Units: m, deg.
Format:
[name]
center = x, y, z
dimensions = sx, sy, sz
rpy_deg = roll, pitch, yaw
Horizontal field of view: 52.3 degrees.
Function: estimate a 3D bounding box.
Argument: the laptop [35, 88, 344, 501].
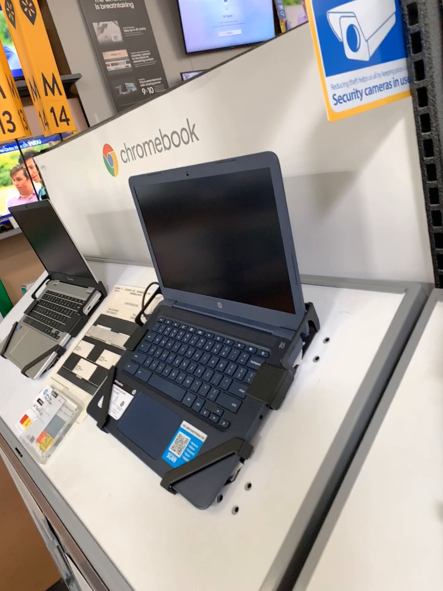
[laptop]
center = -0.060, -0.024, 0.610
dimensions = 0.322, 0.189, 0.318
rpy_deg = -49, 32, -21
